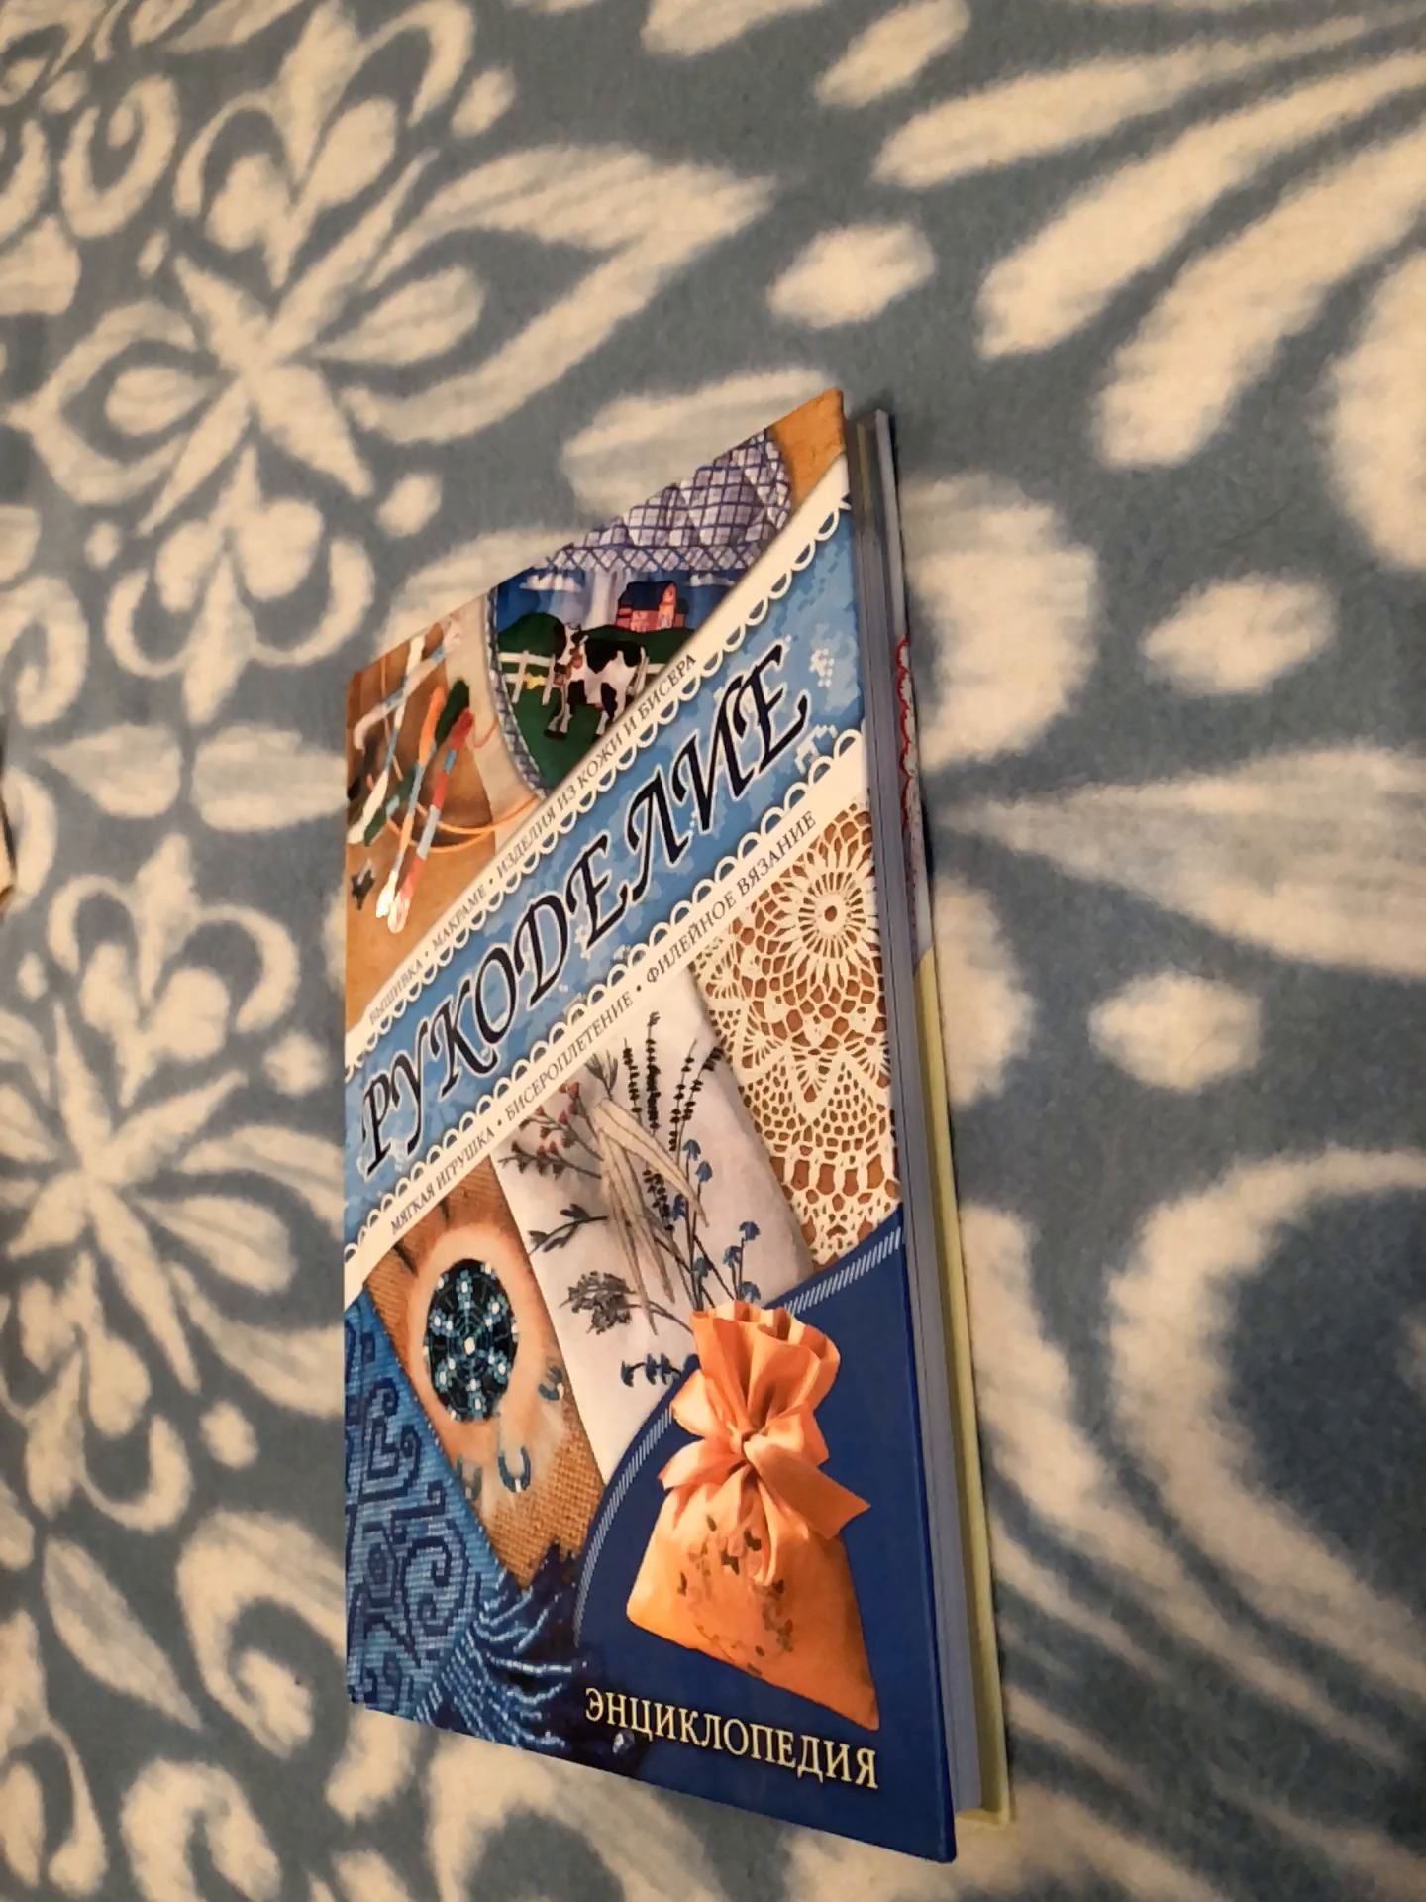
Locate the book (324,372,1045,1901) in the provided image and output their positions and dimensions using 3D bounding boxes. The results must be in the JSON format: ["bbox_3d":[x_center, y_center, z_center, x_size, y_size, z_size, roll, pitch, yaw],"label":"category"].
[{"bbox_3d":[-0.024,0.035,0.310,0.169,0.020,0.237,-16,72,44],"label":"book"}]
